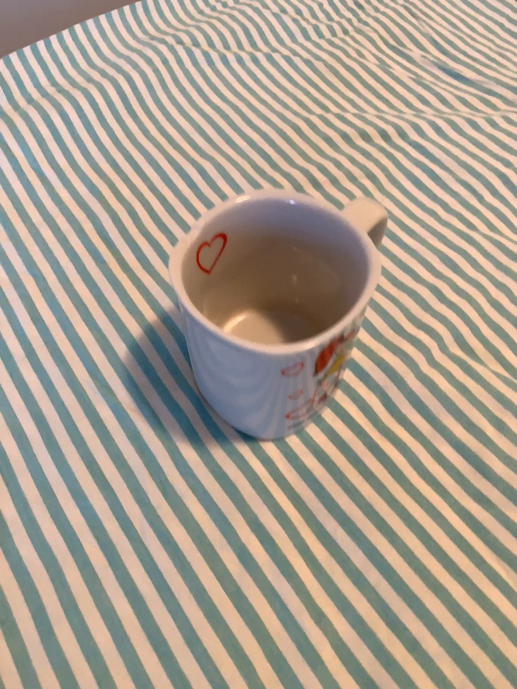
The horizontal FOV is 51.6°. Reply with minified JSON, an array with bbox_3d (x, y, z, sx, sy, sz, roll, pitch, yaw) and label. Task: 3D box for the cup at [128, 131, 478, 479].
[{"bbox_3d":[0.018,-0.017,0.228,0.110,0.080,0.070,-37,65,-22],"label":"cup"}]
